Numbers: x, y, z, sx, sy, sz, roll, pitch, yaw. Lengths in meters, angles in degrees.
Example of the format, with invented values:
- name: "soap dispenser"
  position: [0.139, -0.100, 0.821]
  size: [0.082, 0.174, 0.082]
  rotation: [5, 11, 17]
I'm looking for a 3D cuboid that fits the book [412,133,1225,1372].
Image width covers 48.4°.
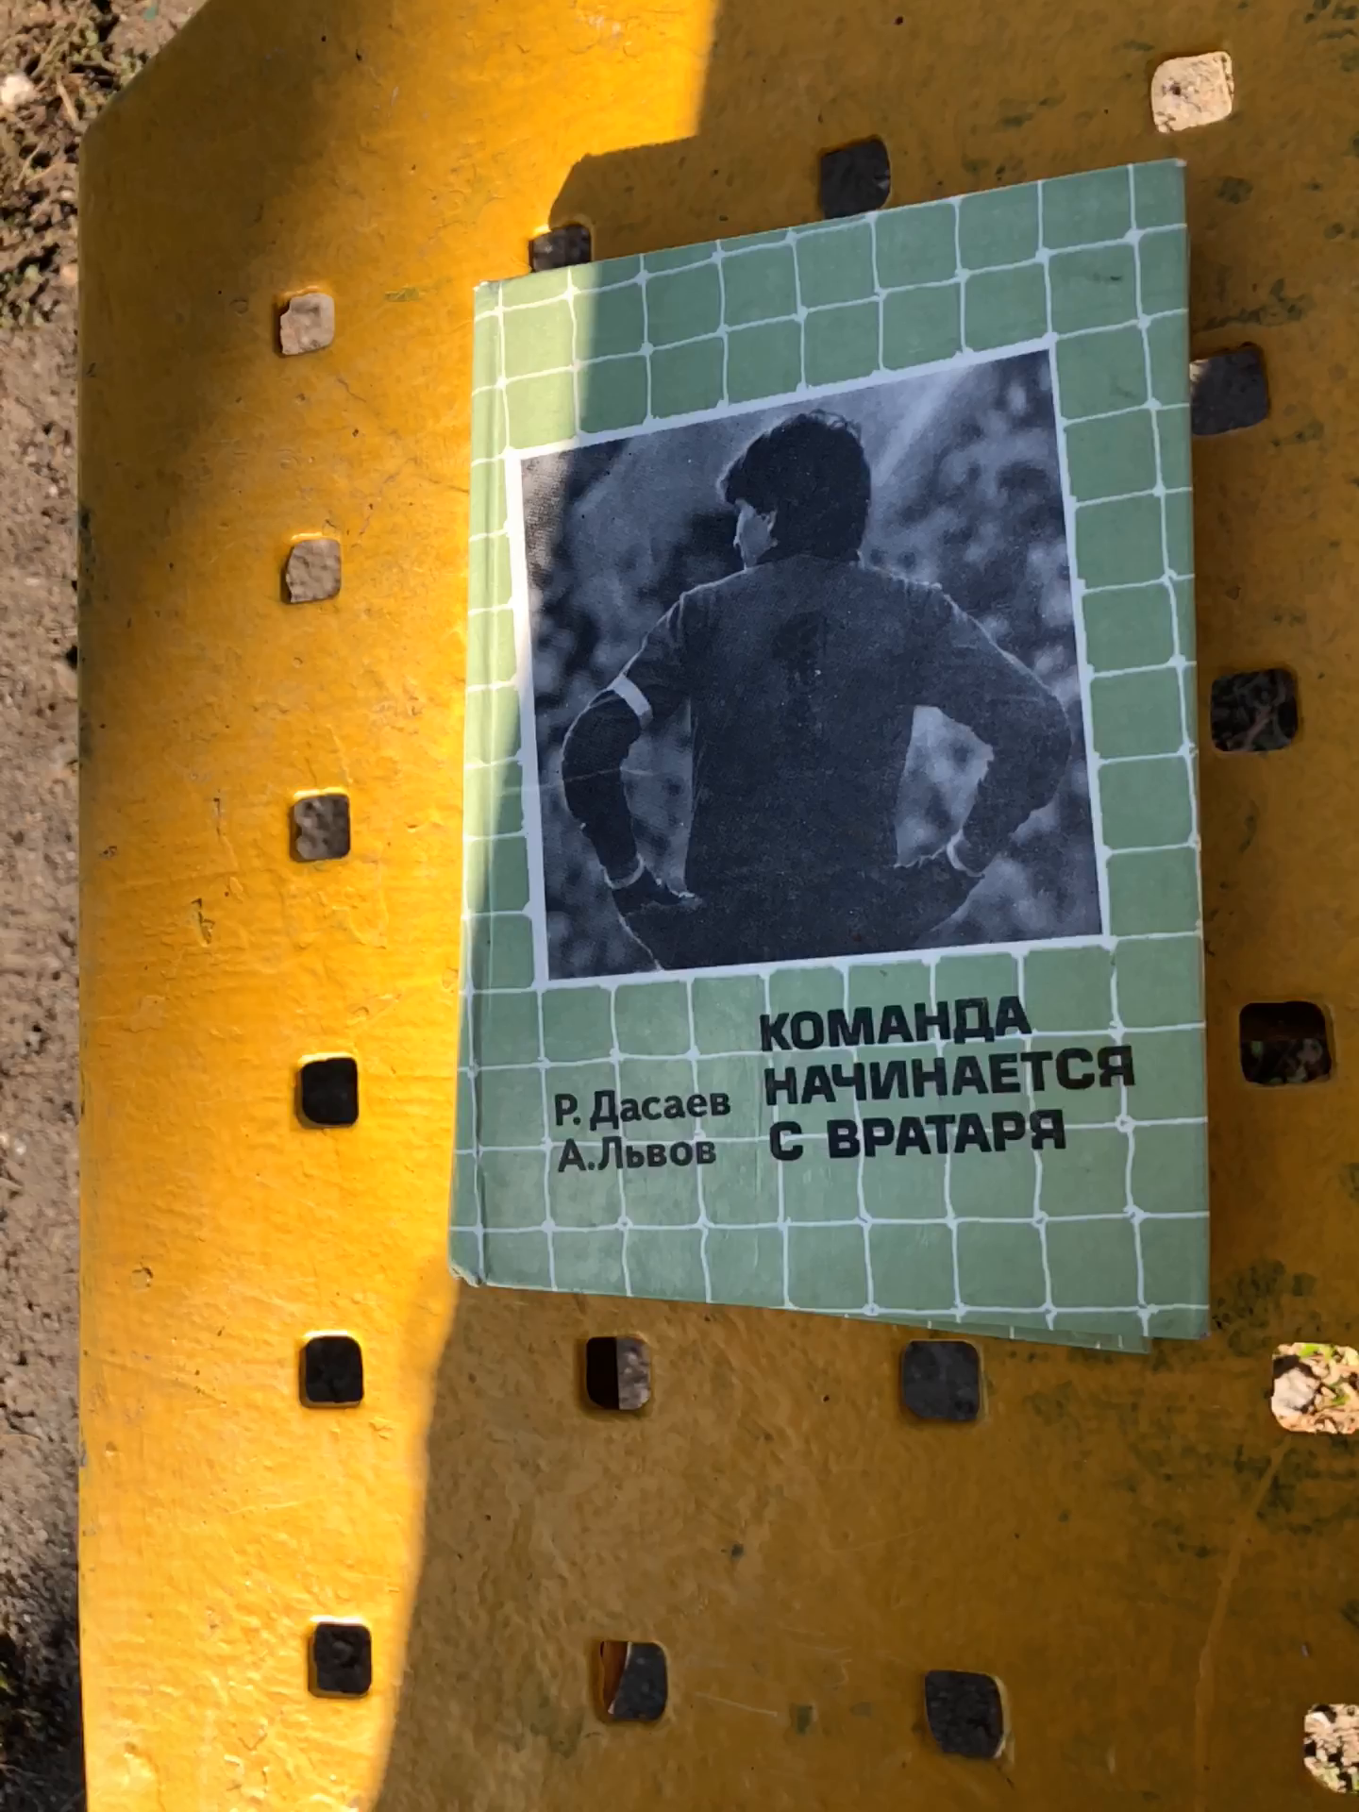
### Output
- name: "book"
  position: [0.020, -0.021, 0.233]
  size: [0.117, 0.030, 0.164]
  rotation: [-1, 85, 21]
